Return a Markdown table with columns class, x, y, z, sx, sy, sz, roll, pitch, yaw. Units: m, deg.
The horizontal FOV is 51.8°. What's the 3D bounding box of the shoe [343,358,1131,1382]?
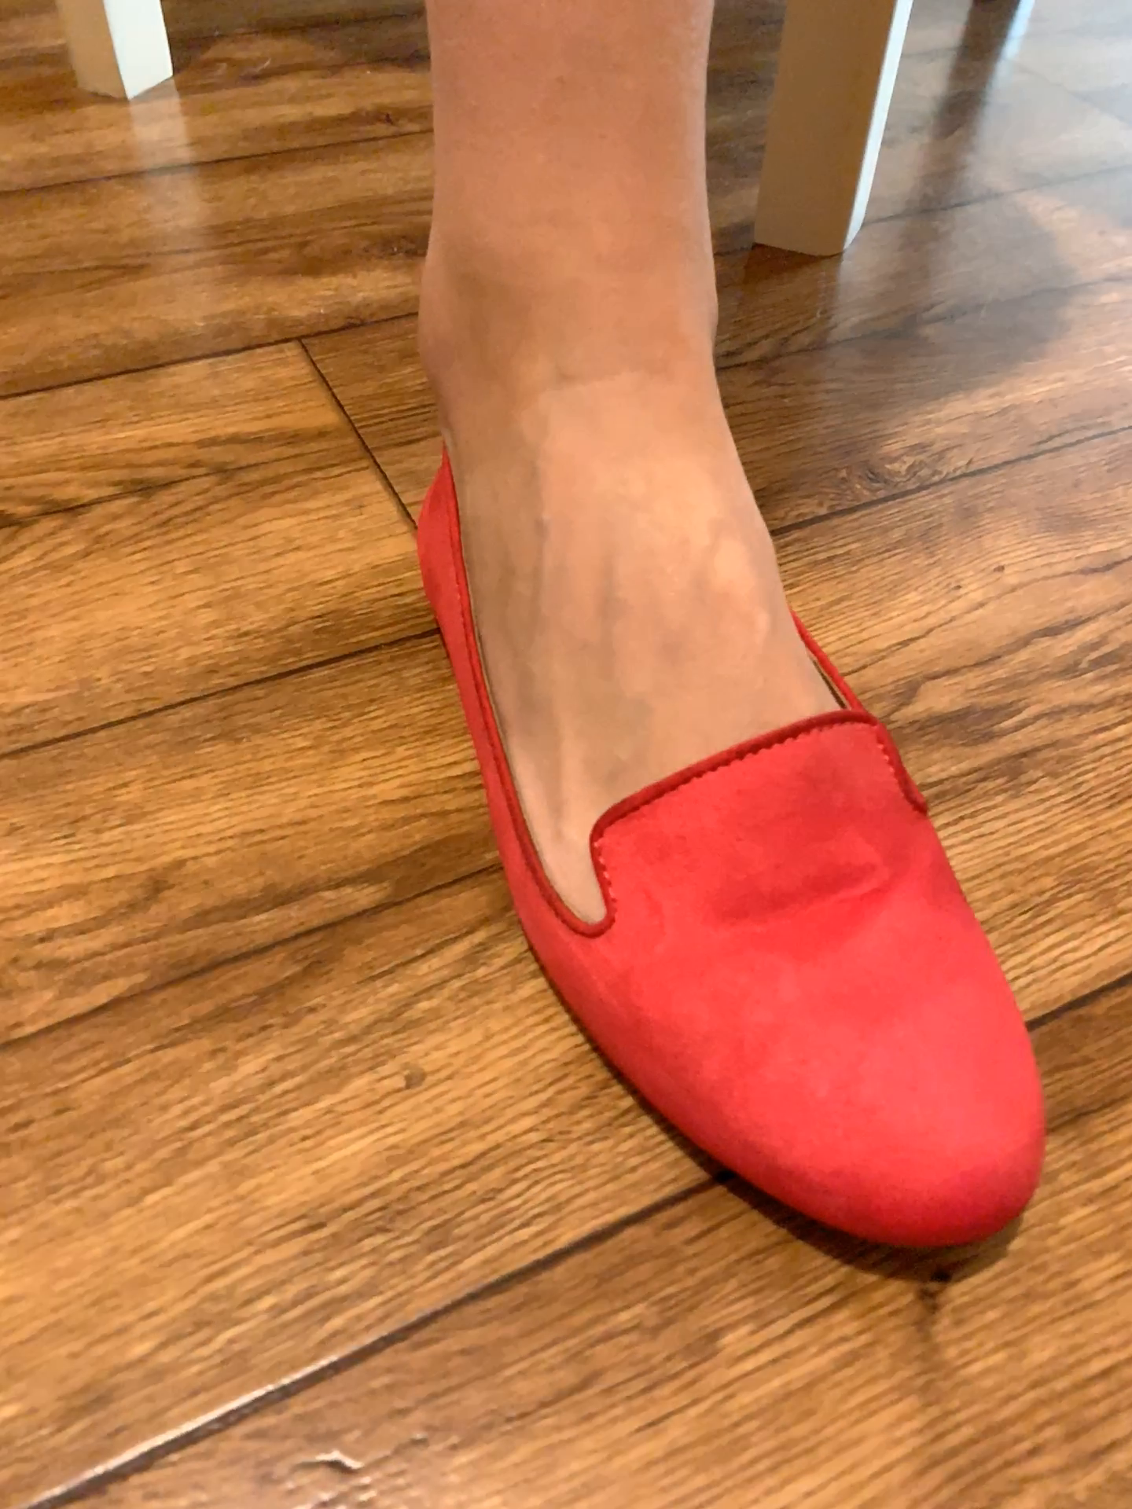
| class | x | y | z | sx | sy | sz | roll | pitch | yaw |
| --- | --- | --- | --- | --- | --- | --- | --- | --- | --- |
| shoe | 0.023 | 0.000 | 0.259 | 0.086 | 0.060 | 0.221 | -15 | 50 | -15 |
